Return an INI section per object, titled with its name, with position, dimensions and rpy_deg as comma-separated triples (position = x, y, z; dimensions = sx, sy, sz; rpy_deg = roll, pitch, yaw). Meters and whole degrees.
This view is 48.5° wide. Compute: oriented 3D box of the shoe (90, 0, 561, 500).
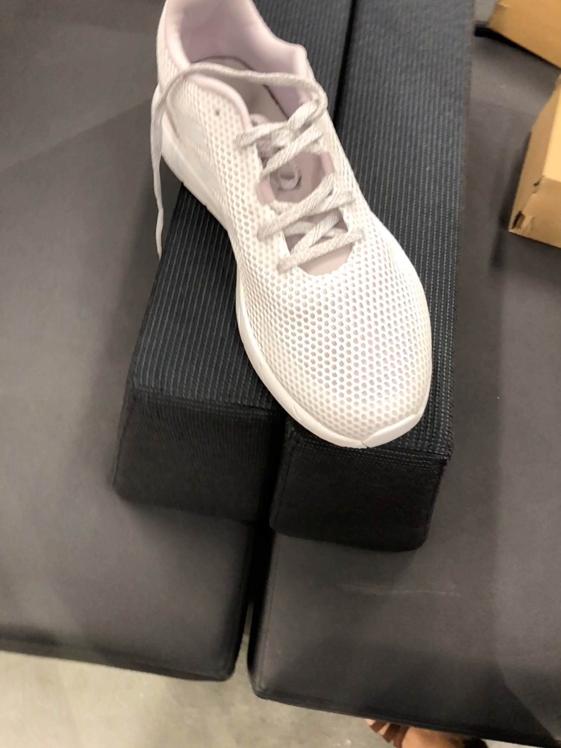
[shoe]
position = 0.012, -0.094, 0.357
dimensions = 0.120, 0.140, 0.280
rpy_deg = -23, 70, -12
